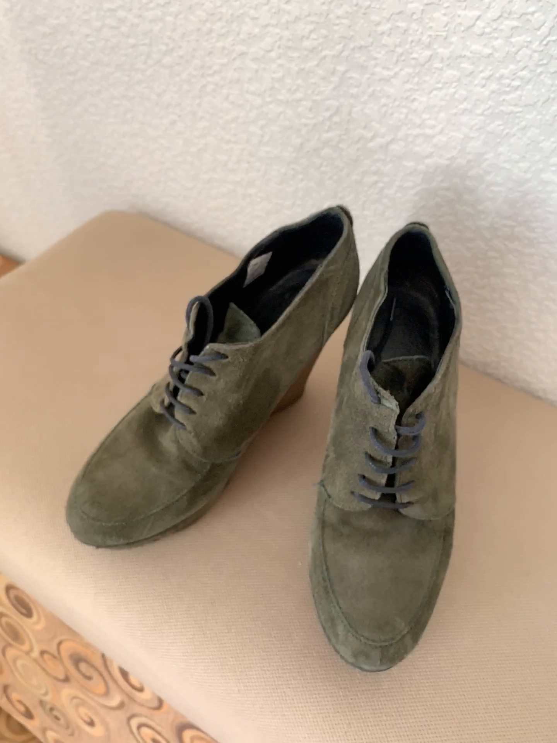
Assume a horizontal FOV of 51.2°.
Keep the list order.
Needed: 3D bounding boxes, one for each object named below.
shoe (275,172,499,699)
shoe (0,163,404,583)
[{"bbox_3d":[0.068,0.027,0.348,0.080,0.139,0.271,11,55,7],"label":"shoe"},{"bbox_3d":[-0.043,-0.002,0.355,0.229,0.136,0.086,-37,63,-24],"label":"shoe"}]
